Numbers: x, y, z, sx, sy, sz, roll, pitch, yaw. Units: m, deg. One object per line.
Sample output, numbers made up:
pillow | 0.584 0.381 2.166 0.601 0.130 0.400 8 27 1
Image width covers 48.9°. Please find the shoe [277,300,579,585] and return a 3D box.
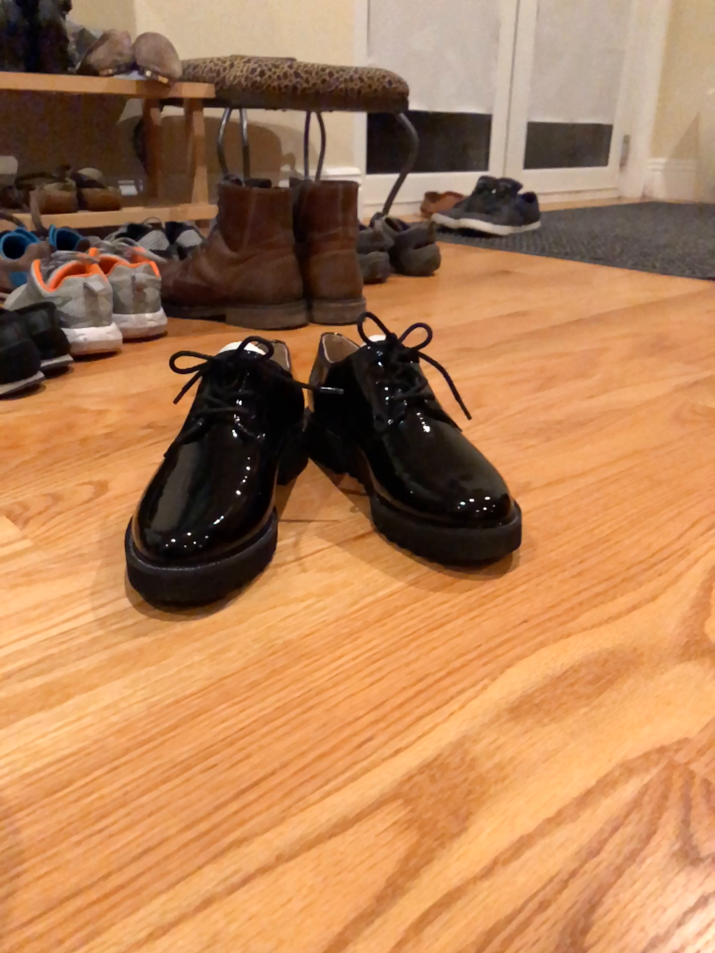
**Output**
shoe | 0.028 -0.042 0.533 0.095 0.101 0.252 -8 25 -20

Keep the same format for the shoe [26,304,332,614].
shoe | -0.088 -0.031 0.497 0.095 0.101 0.252 5 24 9
